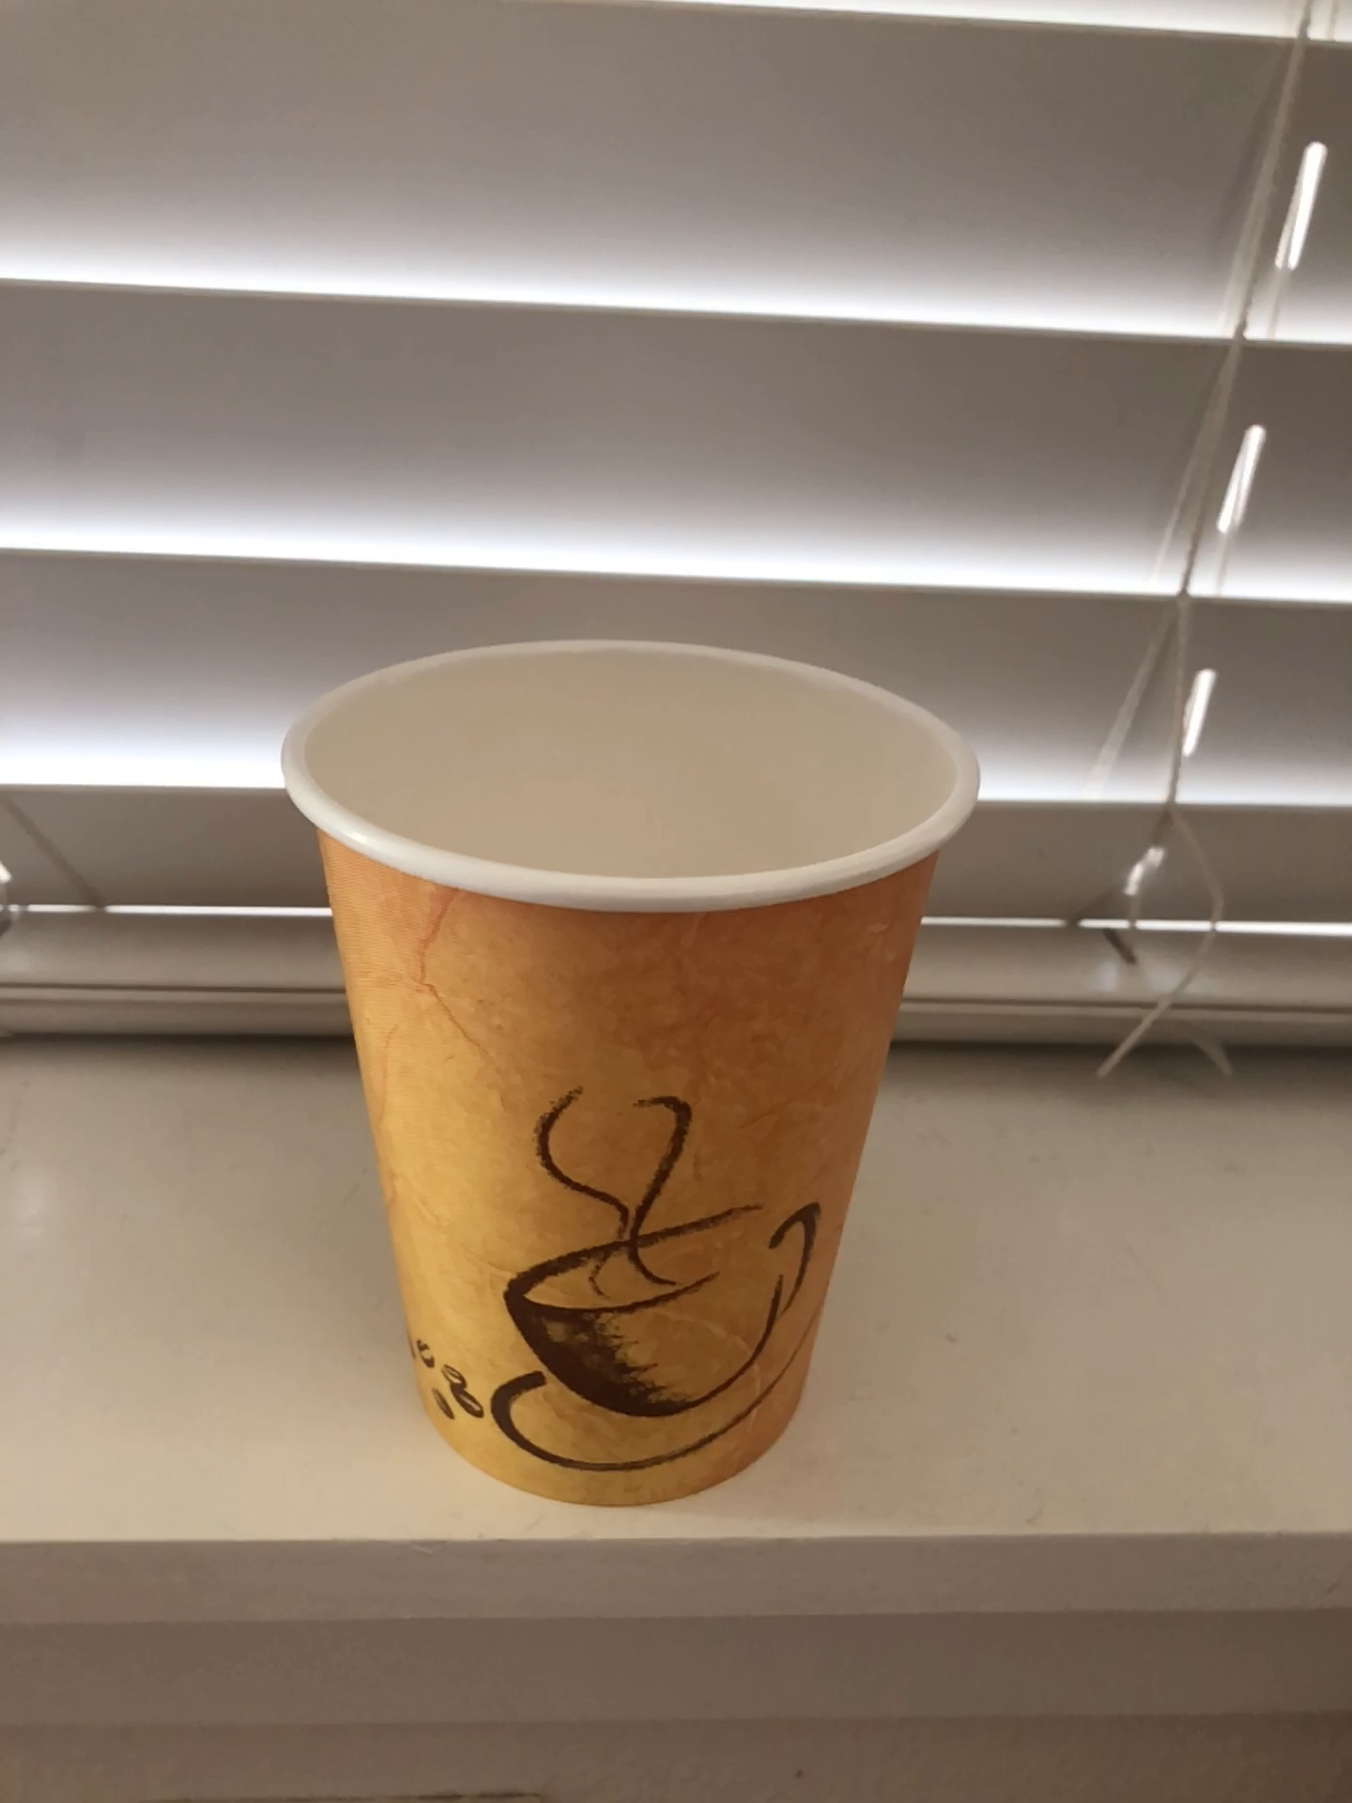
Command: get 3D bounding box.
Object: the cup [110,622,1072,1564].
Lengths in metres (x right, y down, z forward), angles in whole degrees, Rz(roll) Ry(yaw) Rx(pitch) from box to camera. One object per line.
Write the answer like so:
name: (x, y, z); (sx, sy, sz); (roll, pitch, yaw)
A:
cup: (-0.010, 0.019, 0.211); (0.095, 0.088, 0.094); (3, 25, -1)
